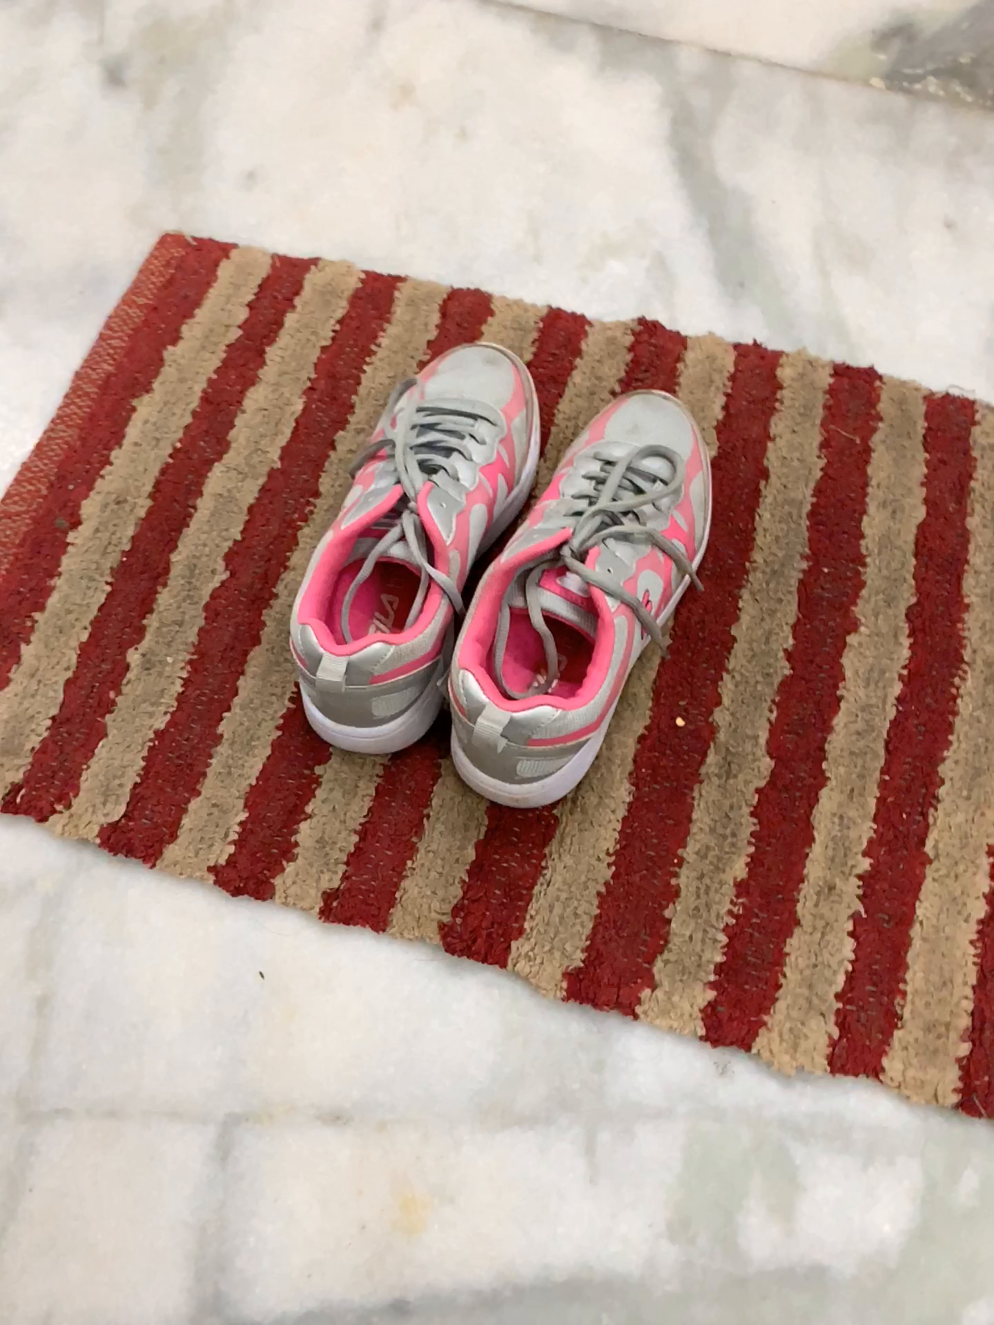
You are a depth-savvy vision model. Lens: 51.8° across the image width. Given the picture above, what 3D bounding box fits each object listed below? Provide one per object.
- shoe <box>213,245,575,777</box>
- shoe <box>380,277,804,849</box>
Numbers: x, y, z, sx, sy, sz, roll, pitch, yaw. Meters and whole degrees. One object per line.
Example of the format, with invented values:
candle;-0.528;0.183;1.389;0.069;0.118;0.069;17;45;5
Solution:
shoe;-0.038;-0.076;0.509;0.090;0.100;0.231;16;69;9
shoe;0.049;-0.048;0.481;0.100;0.100;0.231;22;70;11
